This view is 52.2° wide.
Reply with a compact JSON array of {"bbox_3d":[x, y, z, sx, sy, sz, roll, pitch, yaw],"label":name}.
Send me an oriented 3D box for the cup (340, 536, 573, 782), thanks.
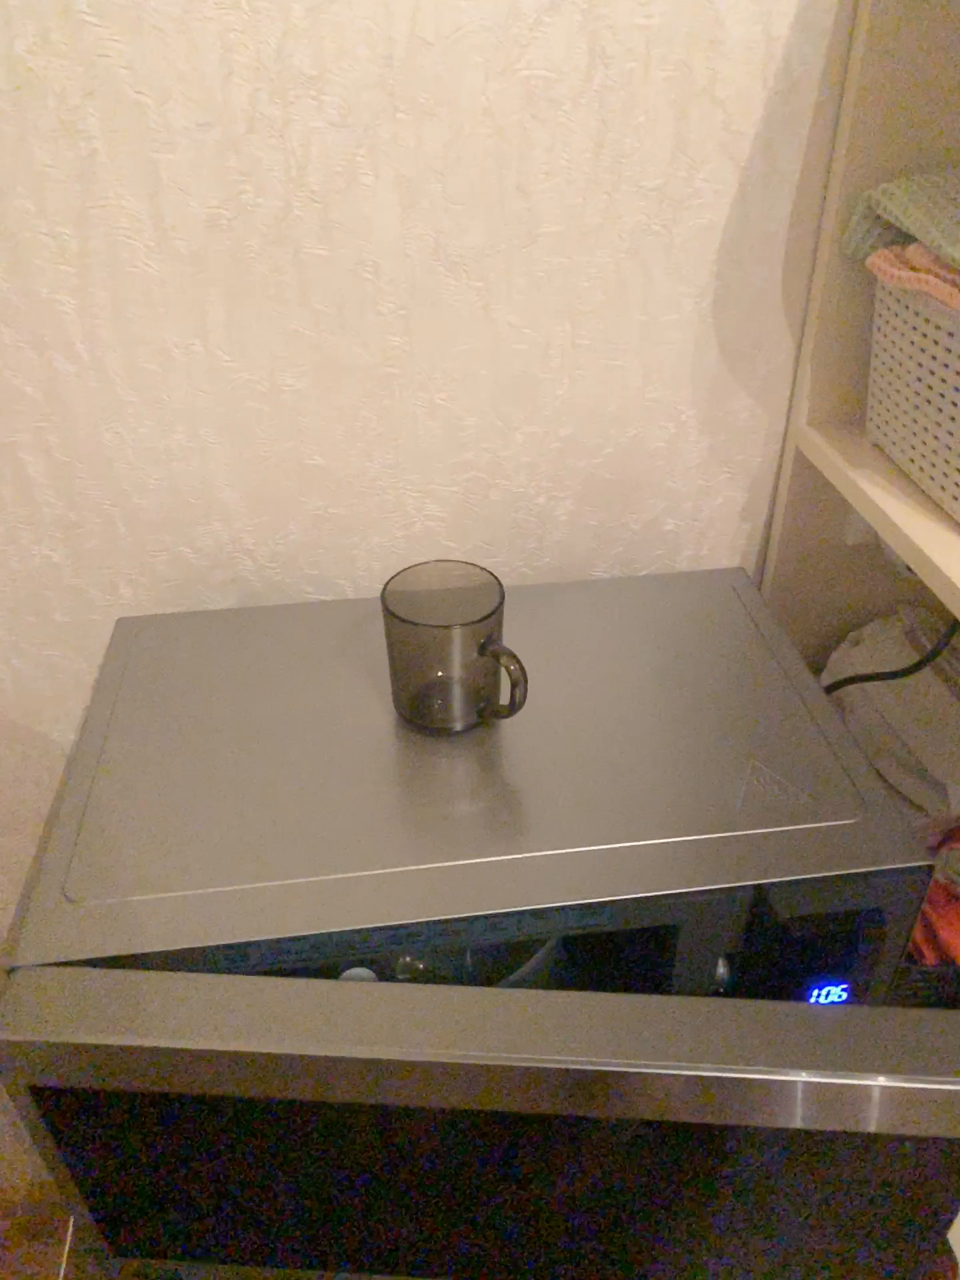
[{"bbox_3d":[-0.014,0.007,0.577,0.080,0.079,0.111,-28,42,-32],"label":"cup"}]
